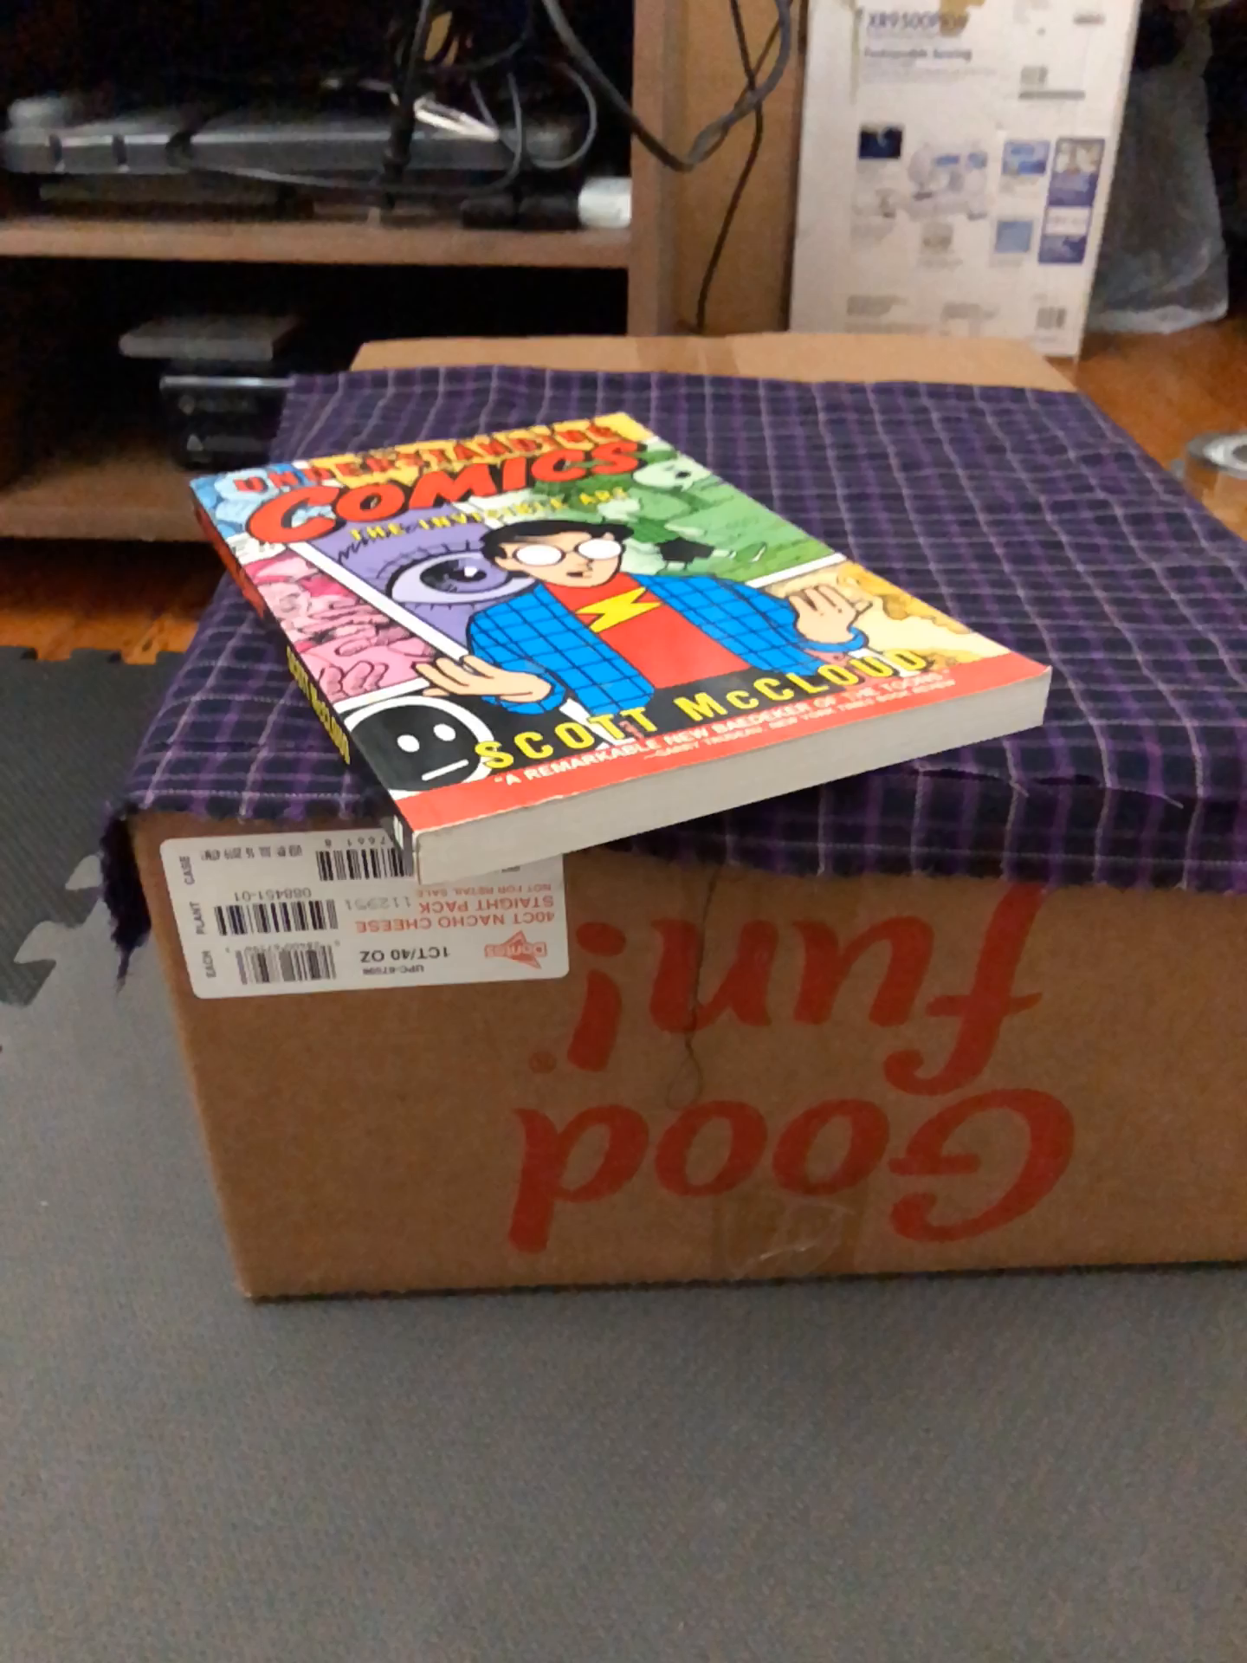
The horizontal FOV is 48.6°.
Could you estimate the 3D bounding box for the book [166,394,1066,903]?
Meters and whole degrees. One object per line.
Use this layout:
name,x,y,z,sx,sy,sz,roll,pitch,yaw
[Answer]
book,-0.026,-0.079,0.417,0.170,0.020,0.271,-14,35,-21
